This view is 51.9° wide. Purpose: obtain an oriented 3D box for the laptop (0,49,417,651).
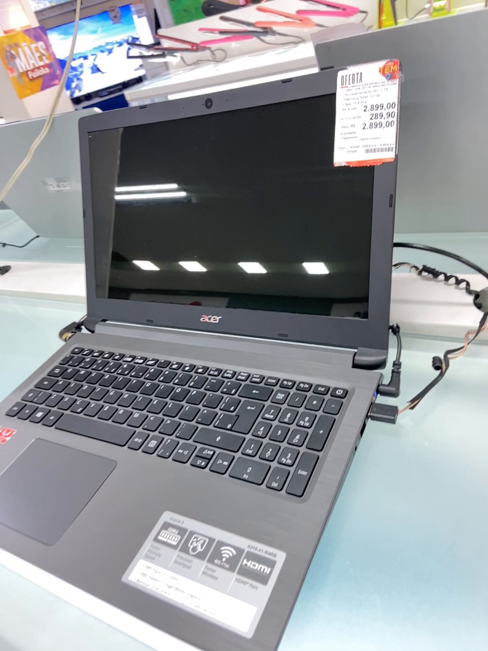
[{"bbox_3d":[-0.084,-0.032,0.394,0.341,0.194,0.354,5,40,31],"label":"laptop"}]
